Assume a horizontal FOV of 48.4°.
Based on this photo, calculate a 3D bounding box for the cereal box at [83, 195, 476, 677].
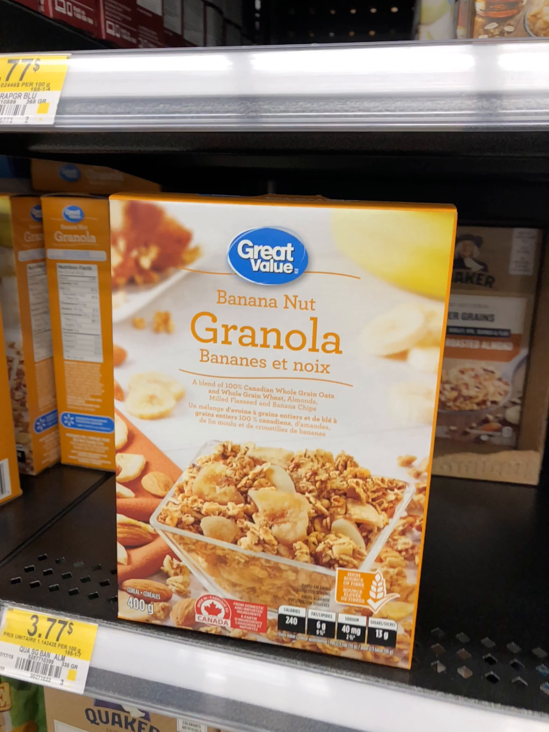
[{"bbox_3d":[0.001,0.027,0.298,0.160,0.209,0.060,5,16,13],"label":"cereal box"}]
